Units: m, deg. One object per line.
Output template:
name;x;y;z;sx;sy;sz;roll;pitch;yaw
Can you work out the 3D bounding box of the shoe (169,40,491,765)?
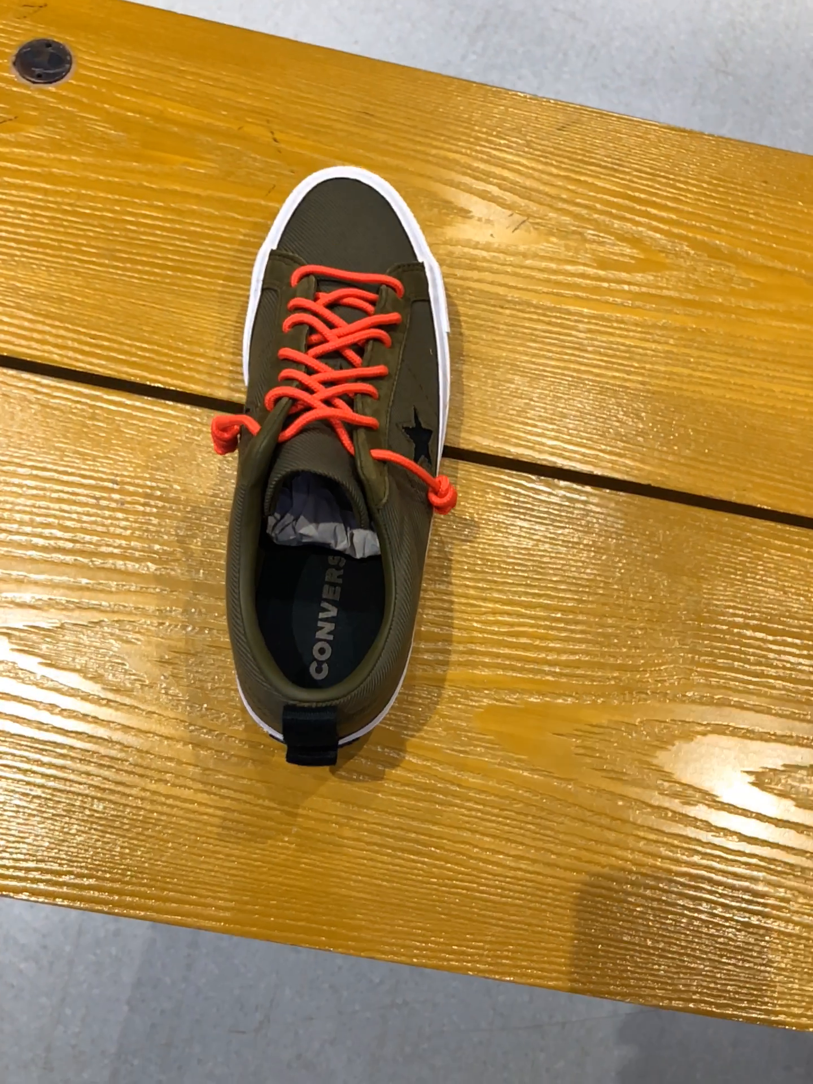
shoe;-0.026;-0.057;0.395;0.105;0.097;0.293;4;73;-5
